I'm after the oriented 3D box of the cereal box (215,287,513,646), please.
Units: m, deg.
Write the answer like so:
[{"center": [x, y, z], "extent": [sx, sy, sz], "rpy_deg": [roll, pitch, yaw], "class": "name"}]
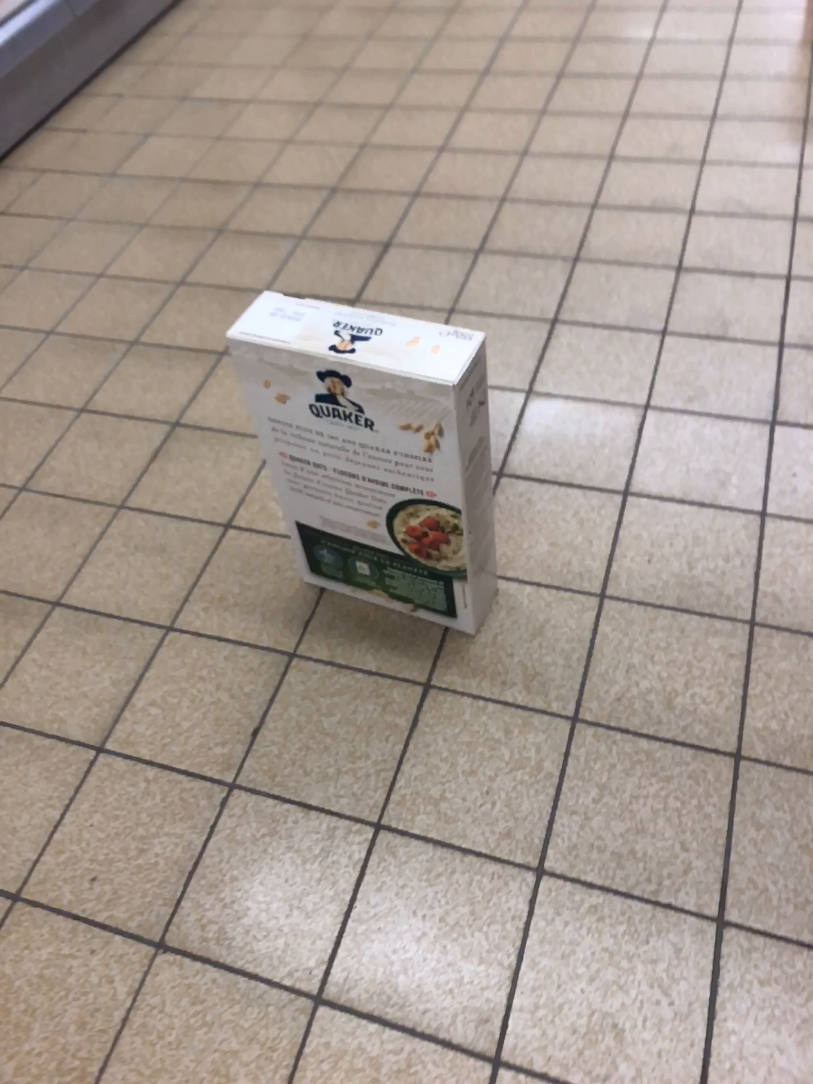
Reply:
[{"center": [-0.015, -0.039, 0.574], "extent": [0.150, 0.229, 0.050], "rpy_deg": [16, 55, 21], "class": "cereal box"}]
